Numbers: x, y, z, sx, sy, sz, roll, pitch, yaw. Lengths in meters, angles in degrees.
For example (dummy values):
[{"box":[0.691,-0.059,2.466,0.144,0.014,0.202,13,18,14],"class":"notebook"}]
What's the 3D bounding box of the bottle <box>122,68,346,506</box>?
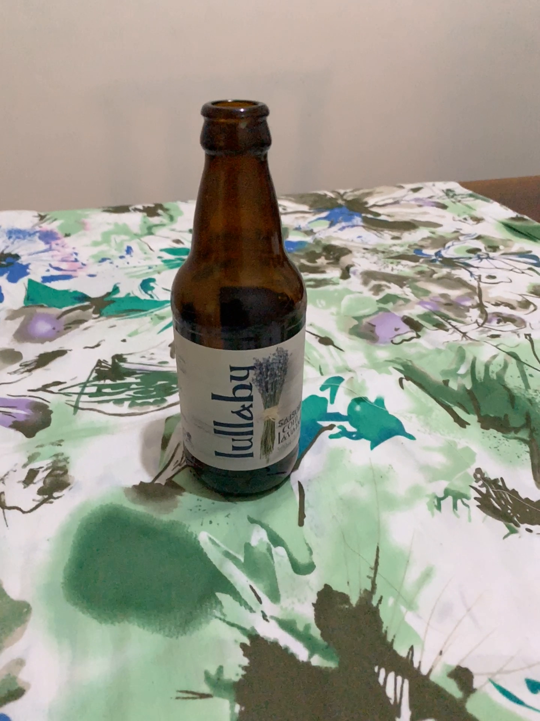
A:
[{"box":[-0.017,-0.028,0.251,0.070,0.179,0.070,1,32,0],"class":"bottle"}]
